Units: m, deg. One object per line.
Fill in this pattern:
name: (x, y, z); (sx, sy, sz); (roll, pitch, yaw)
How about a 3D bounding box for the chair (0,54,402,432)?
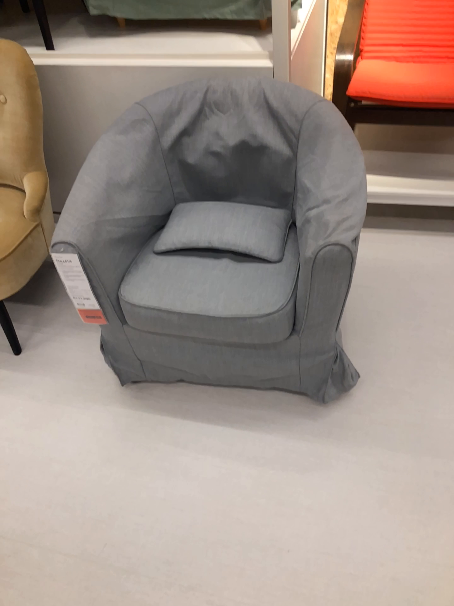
chair: (0.000, -0.184, 1.513); (0.870, 0.795, 0.724); (4, 48, 12)
